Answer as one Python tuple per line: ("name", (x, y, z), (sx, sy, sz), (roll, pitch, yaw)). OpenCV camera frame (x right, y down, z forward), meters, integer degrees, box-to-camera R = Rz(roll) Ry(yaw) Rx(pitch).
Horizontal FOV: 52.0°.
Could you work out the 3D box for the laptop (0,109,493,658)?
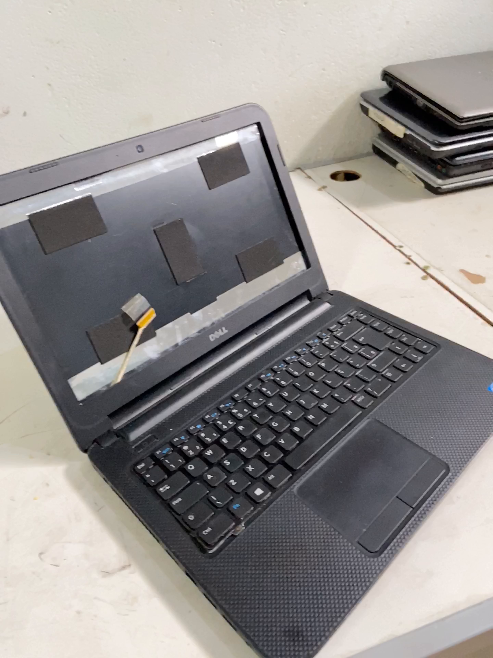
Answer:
("laptop", (0.021, -0.023, 0.421), (0.321, 0.193, 0.336), (-32, 45, -32))
